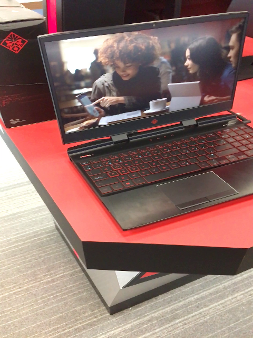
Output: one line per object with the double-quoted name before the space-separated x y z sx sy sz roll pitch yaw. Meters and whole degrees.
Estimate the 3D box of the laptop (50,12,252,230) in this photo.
"laptop" 0.113 -0.098 0.560 0.369 0.225 0.246 -16 46 -16
